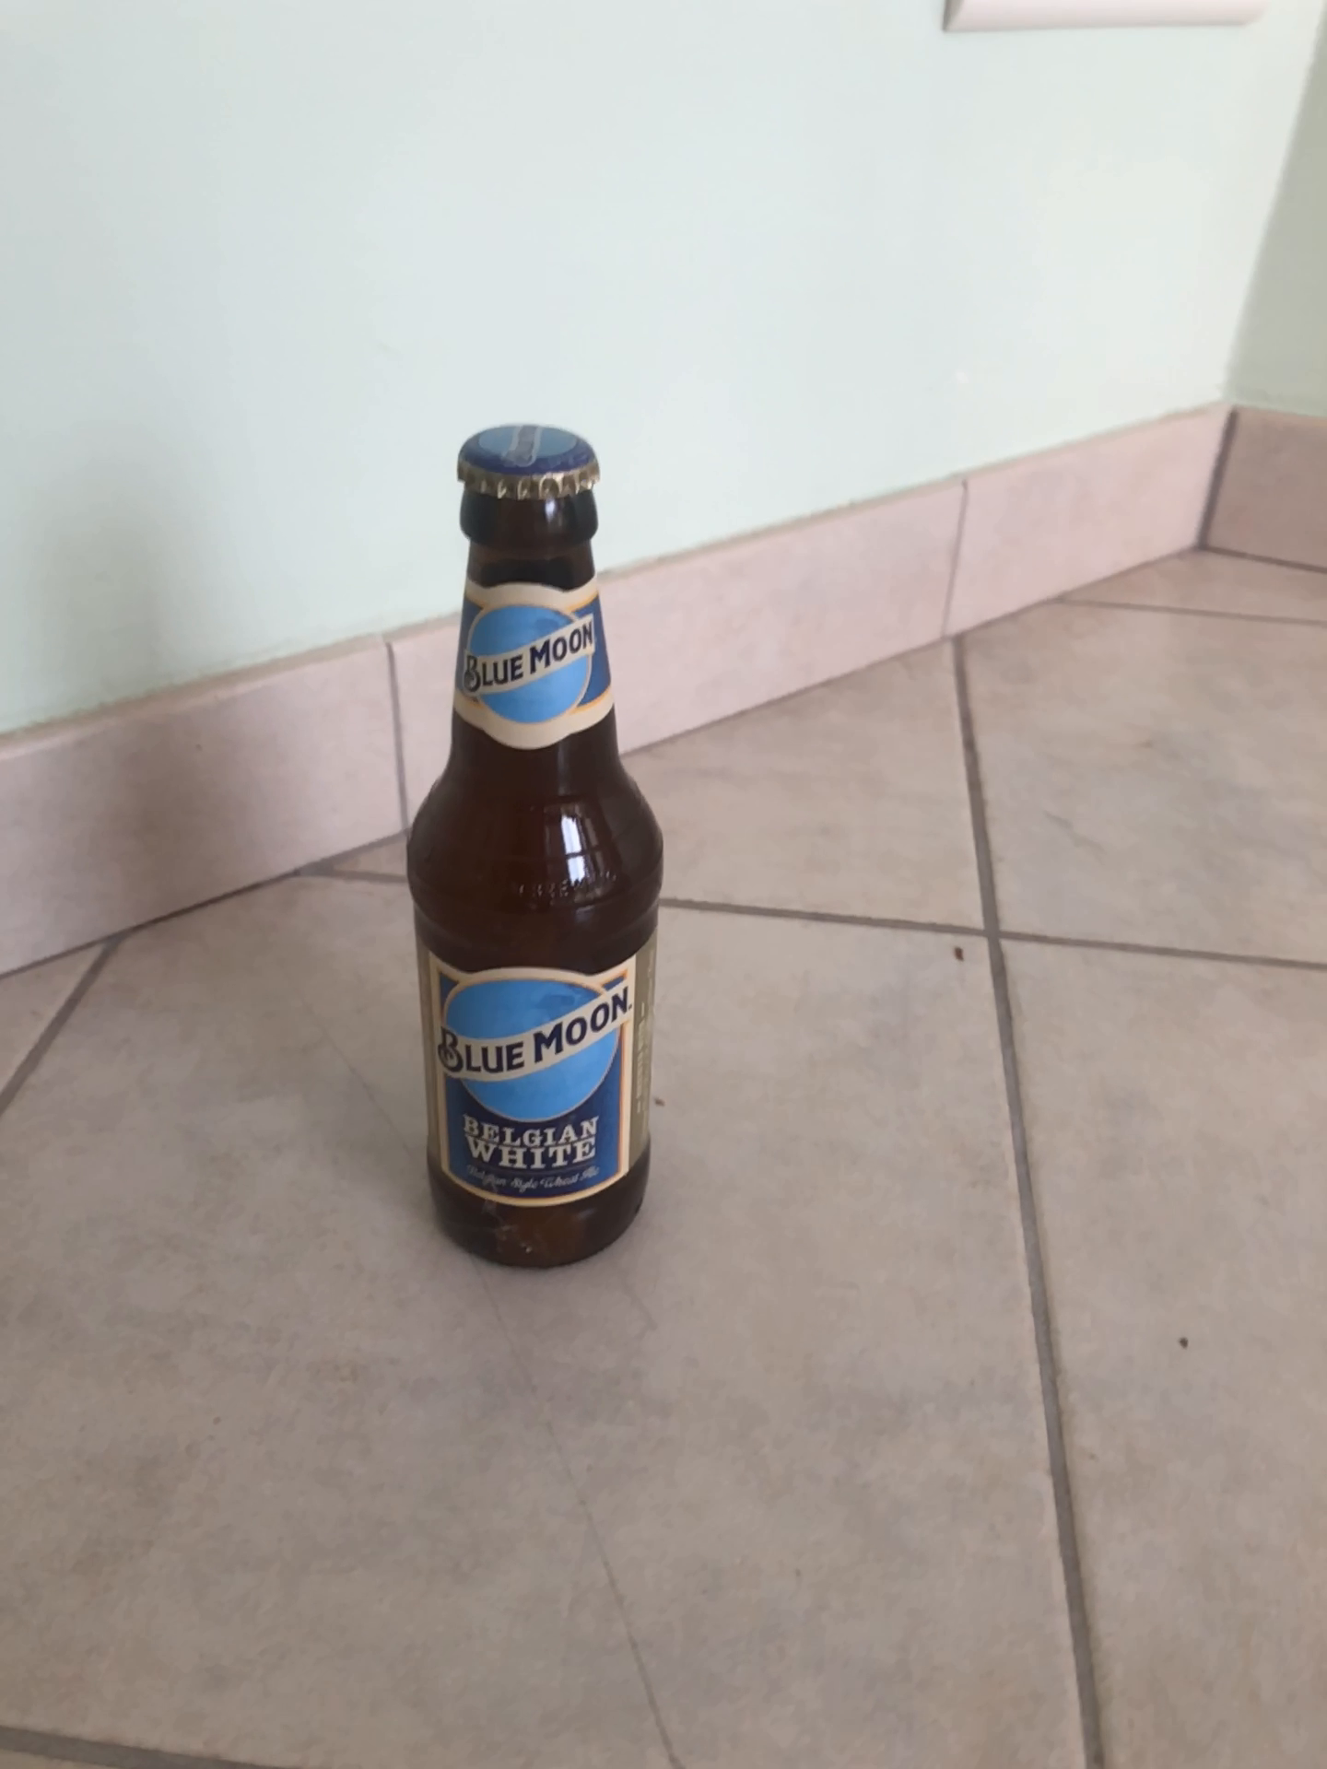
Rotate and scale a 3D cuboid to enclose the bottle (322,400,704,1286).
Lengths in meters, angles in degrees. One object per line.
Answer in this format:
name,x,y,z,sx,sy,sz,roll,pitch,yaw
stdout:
bottle,-0.032,0.000,0.358,0.070,0.209,0.070,2,35,-2
